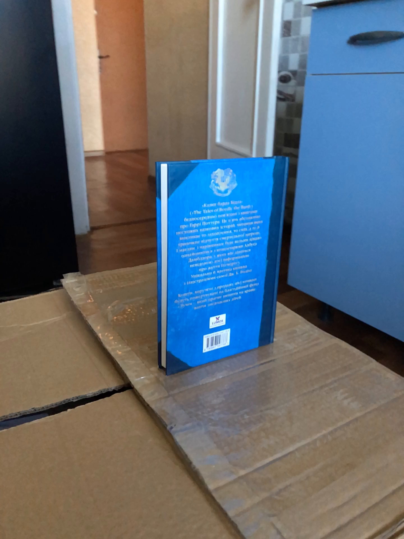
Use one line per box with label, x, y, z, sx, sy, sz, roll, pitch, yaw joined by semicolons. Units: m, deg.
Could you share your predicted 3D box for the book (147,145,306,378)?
book;0.024;-0.010;0.420;0.144;0.199;0.030;-11;25;-28
